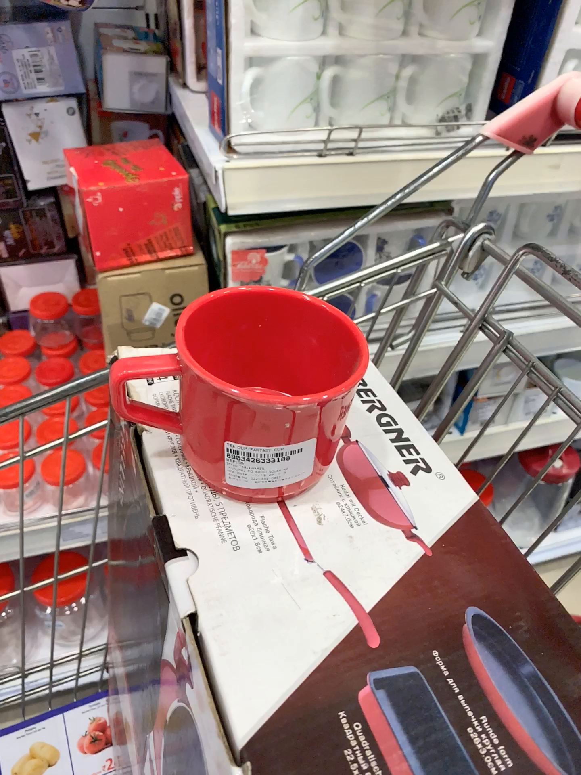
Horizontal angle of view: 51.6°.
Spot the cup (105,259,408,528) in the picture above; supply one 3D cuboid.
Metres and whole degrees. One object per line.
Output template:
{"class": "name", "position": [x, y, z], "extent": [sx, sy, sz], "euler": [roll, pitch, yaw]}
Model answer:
{"class": "cup", "position": [-0.018, -0.002, 0.226], "extent": [0.090, 0.060, 0.070], "euler": [-7, 43, -16]}
